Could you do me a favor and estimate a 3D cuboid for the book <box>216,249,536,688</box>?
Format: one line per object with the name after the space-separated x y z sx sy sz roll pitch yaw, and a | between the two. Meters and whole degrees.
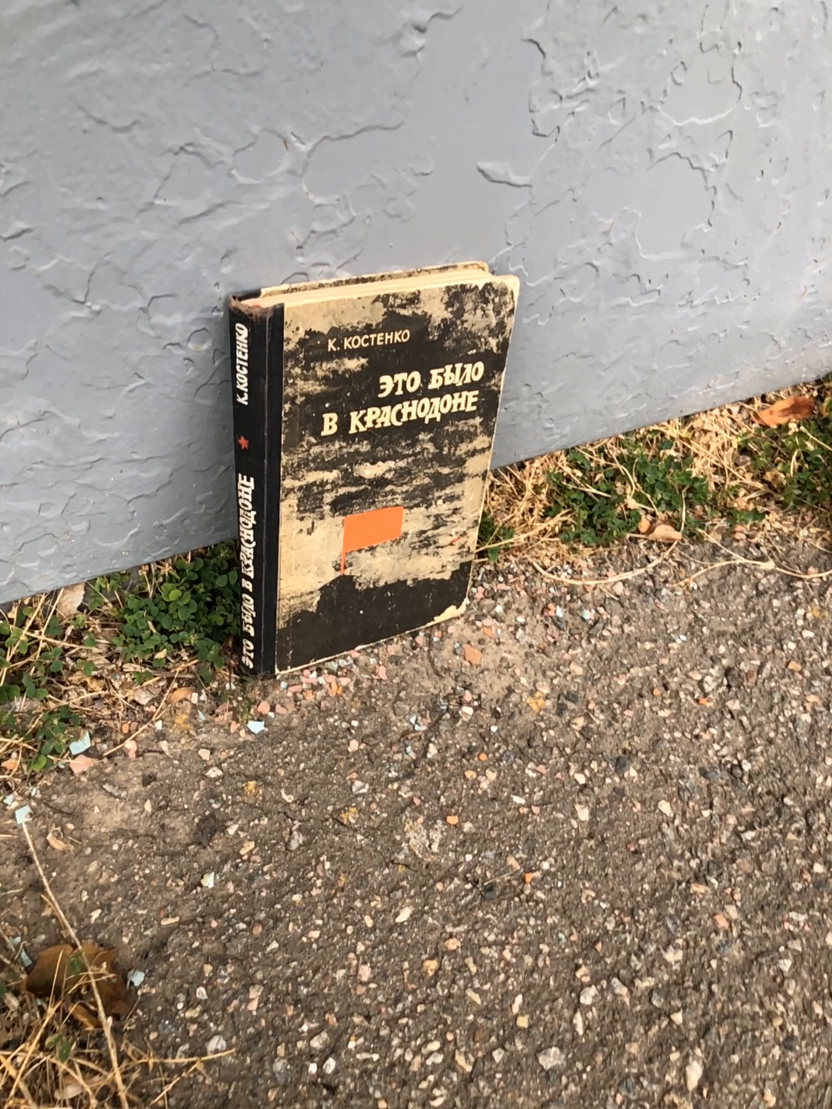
-0.021 -0.039 0.450 0.140 0.199 0.030 -16 40 -28 | book
